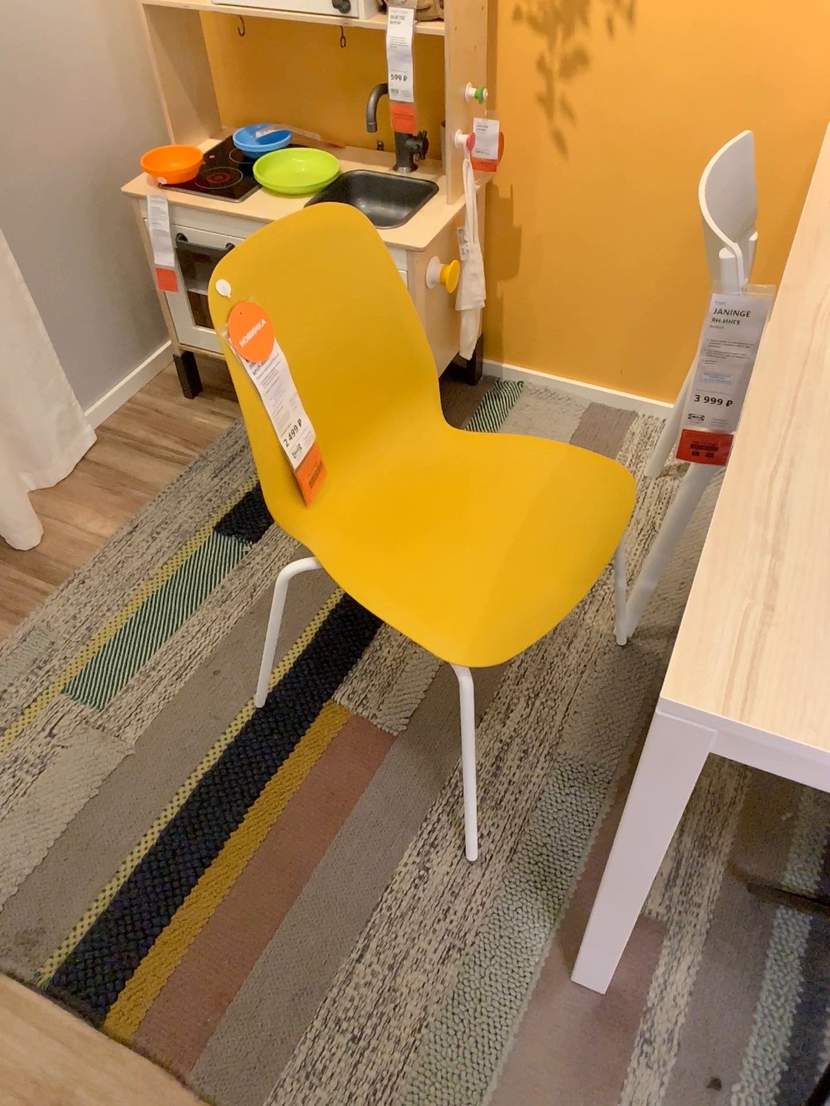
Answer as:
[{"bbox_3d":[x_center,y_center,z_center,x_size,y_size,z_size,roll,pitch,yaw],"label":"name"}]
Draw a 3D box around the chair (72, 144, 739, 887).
[{"bbox_3d":[0.023,-0.042,1.269,0.555,0.809,0.559,24,52,22],"label":"chair"}]
